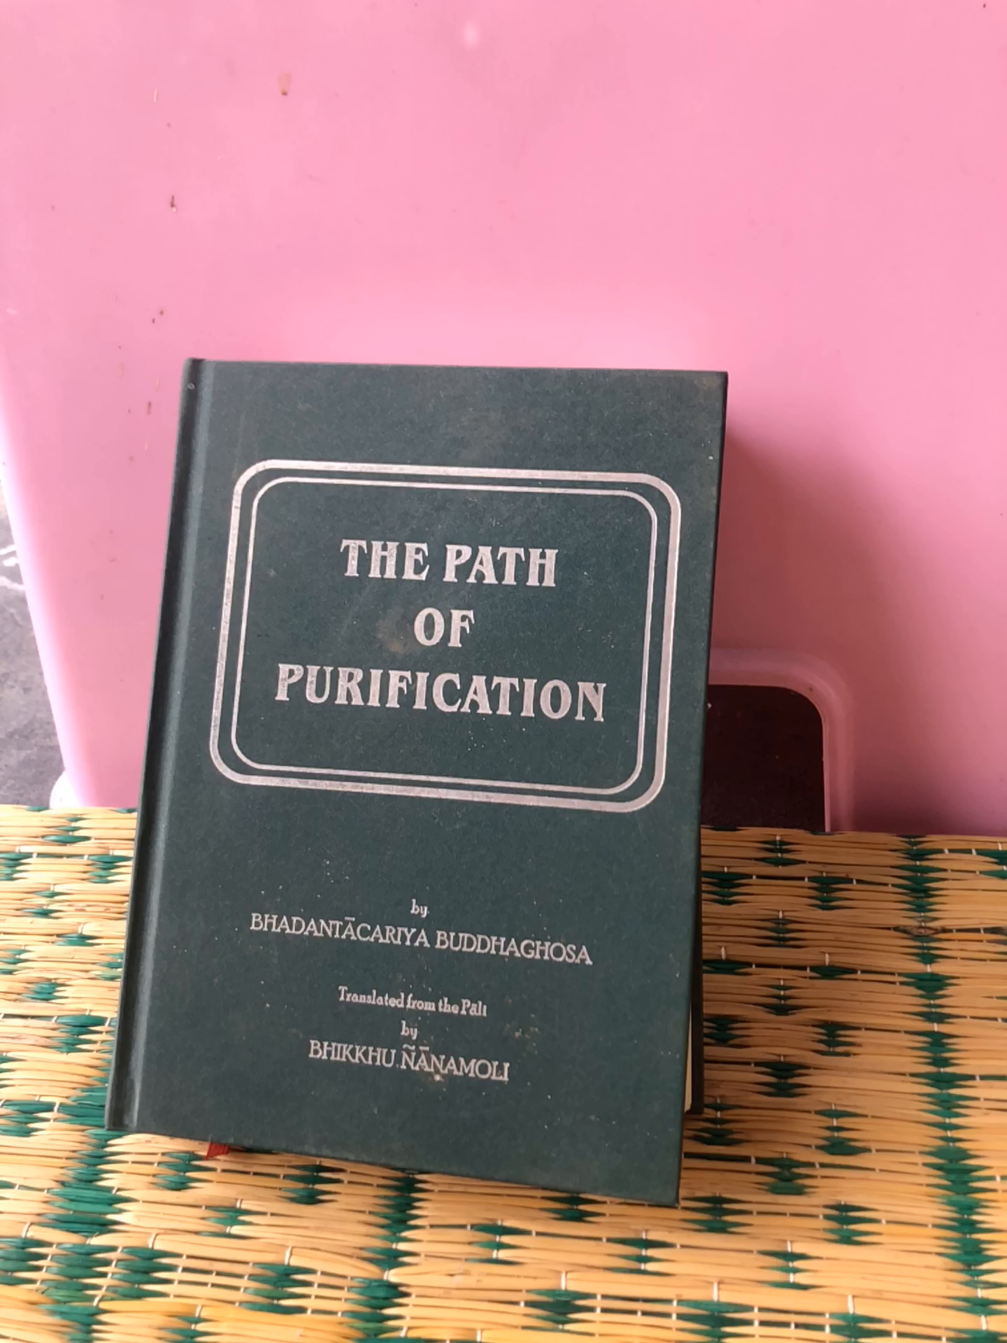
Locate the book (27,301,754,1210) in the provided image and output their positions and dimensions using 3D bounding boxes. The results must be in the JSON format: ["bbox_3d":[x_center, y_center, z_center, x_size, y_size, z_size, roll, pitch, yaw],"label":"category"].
[{"bbox_3d":[-0.019,0.014,0.311,0.160,0.080,0.210,3,79,12],"label":"book"}]
